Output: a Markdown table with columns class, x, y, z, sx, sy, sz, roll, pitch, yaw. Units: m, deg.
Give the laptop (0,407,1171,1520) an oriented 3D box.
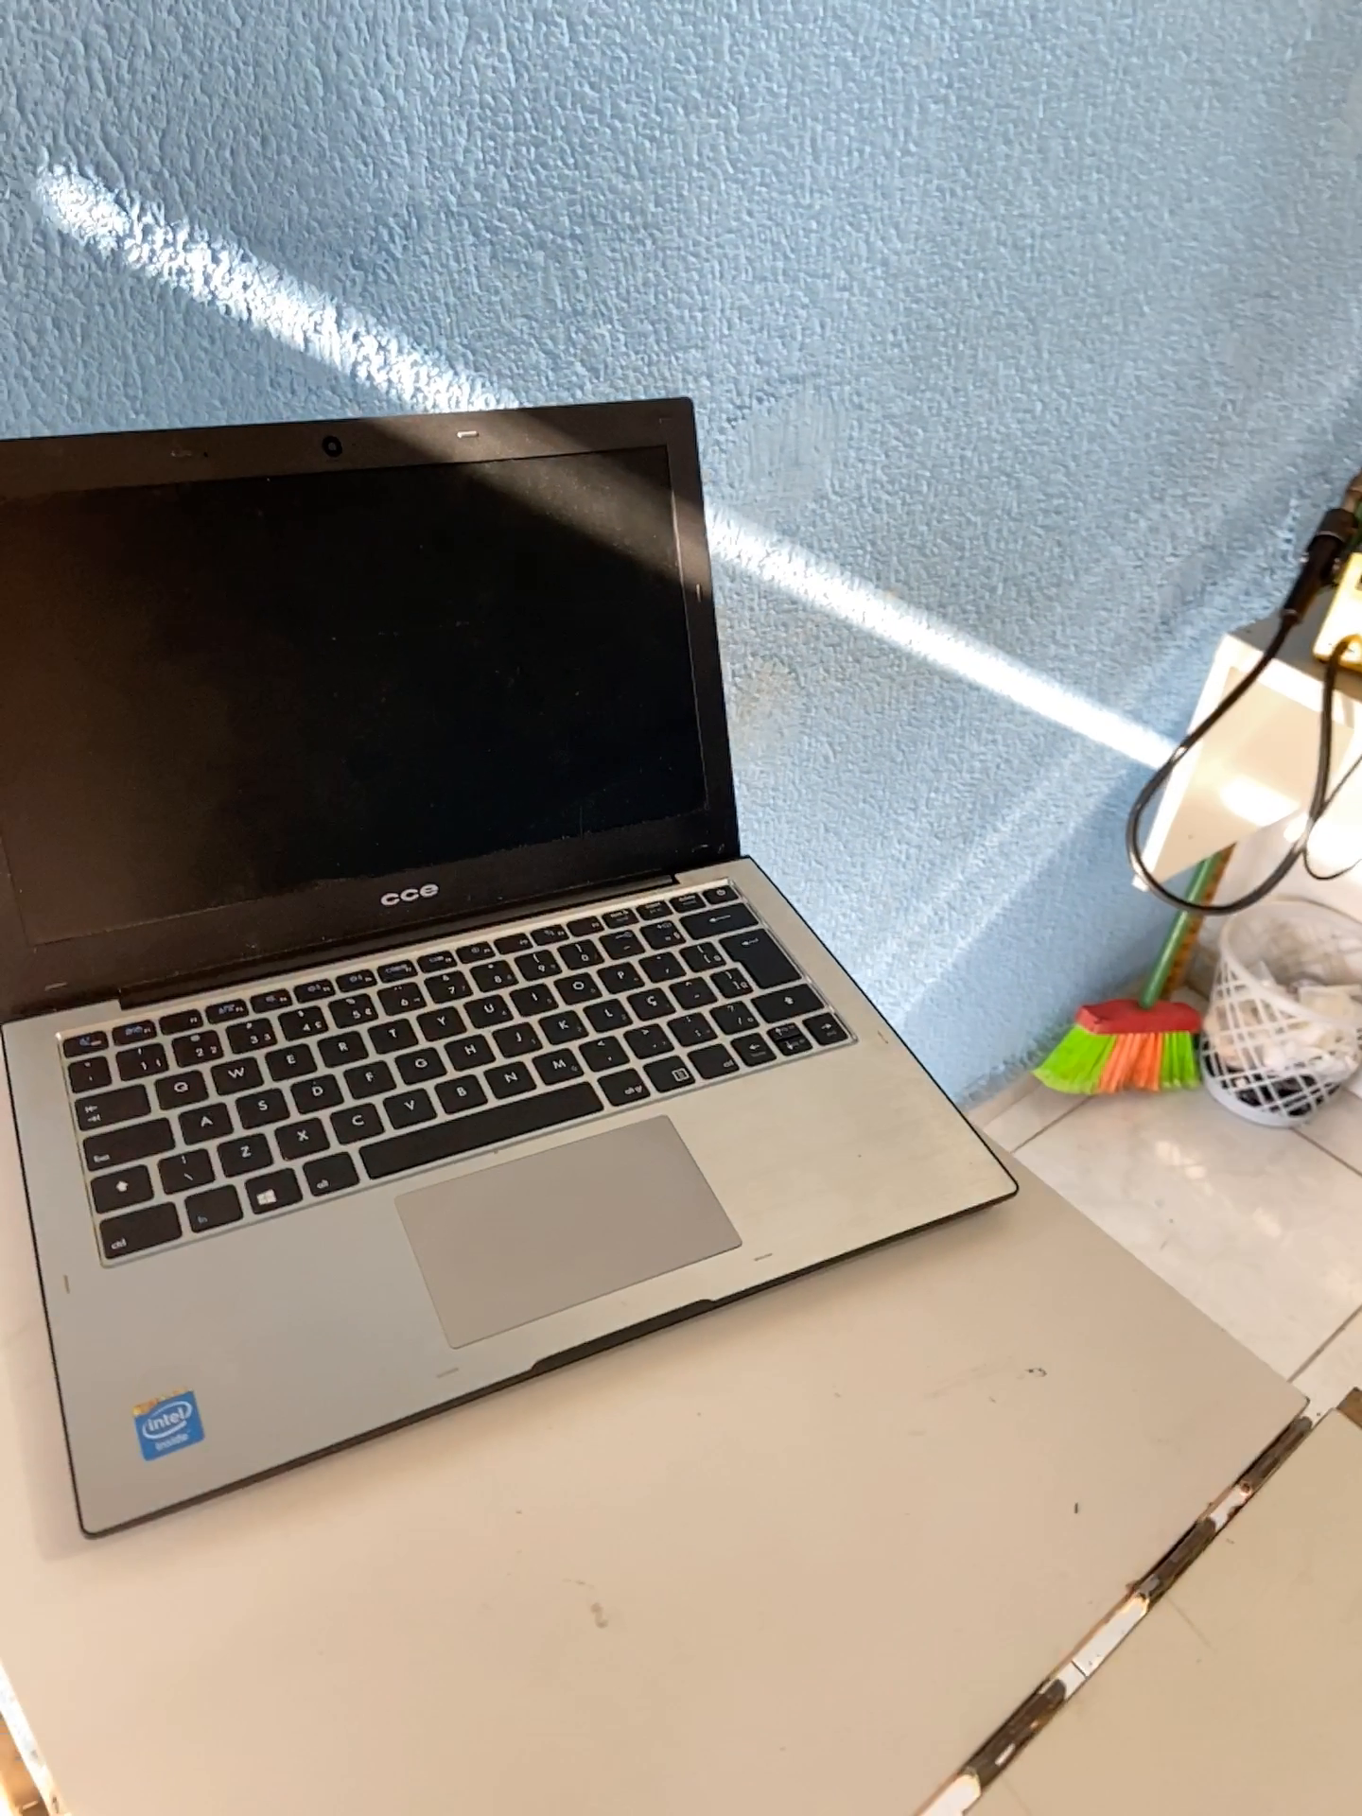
| class | x | y | z | sx | sy | sz | roll | pitch | yaw |
| --- | --- | --- | --- | --- | --- | --- | --- | --- | --- |
| laptop | -0.074 | -0.025 | 0.492 | 0.313 | 0.181 | 0.304 | -13 | 42 | -24 |
